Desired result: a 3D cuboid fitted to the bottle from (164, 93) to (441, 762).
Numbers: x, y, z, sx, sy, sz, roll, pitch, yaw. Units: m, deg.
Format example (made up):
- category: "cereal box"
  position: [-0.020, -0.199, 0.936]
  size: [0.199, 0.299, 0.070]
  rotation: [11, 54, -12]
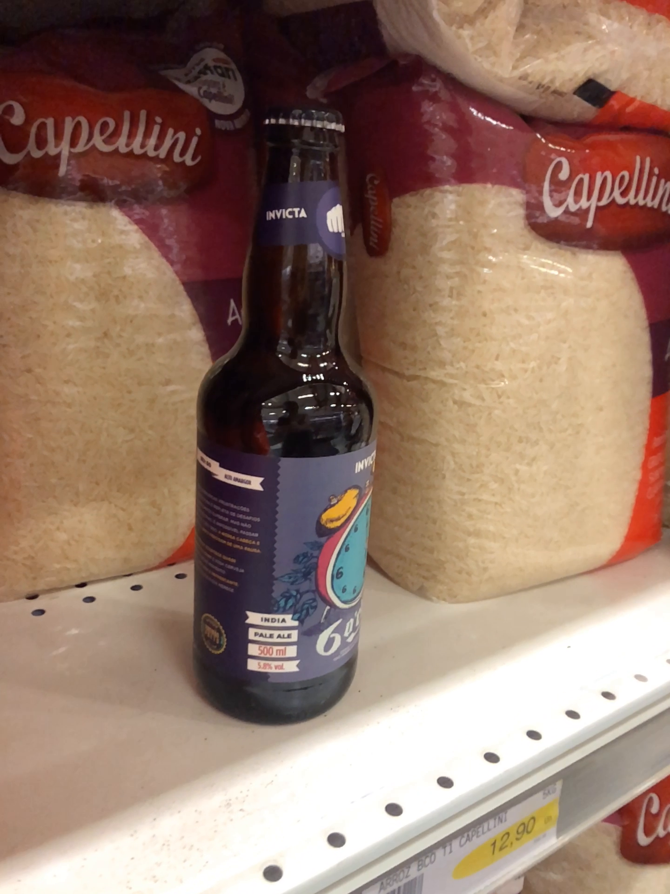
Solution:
- category: "bottle"
  position: [-0.016, -0.005, 0.288]
  size: [0.070, 0.229, 0.070]
  rotation: [4, 19, -1]
